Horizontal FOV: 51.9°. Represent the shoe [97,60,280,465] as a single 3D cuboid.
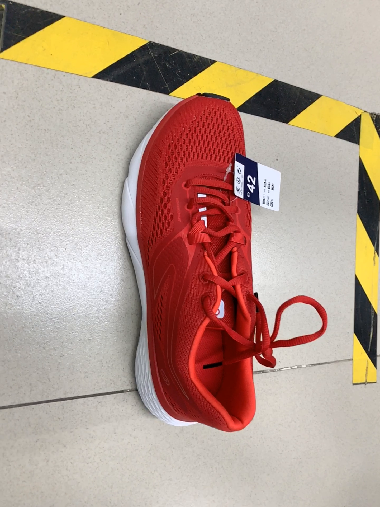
[{"bbox_3d":[-0.003,0.007,0.338,0.120,0.090,0.280,3,89,-29],"label":"shoe"}]
